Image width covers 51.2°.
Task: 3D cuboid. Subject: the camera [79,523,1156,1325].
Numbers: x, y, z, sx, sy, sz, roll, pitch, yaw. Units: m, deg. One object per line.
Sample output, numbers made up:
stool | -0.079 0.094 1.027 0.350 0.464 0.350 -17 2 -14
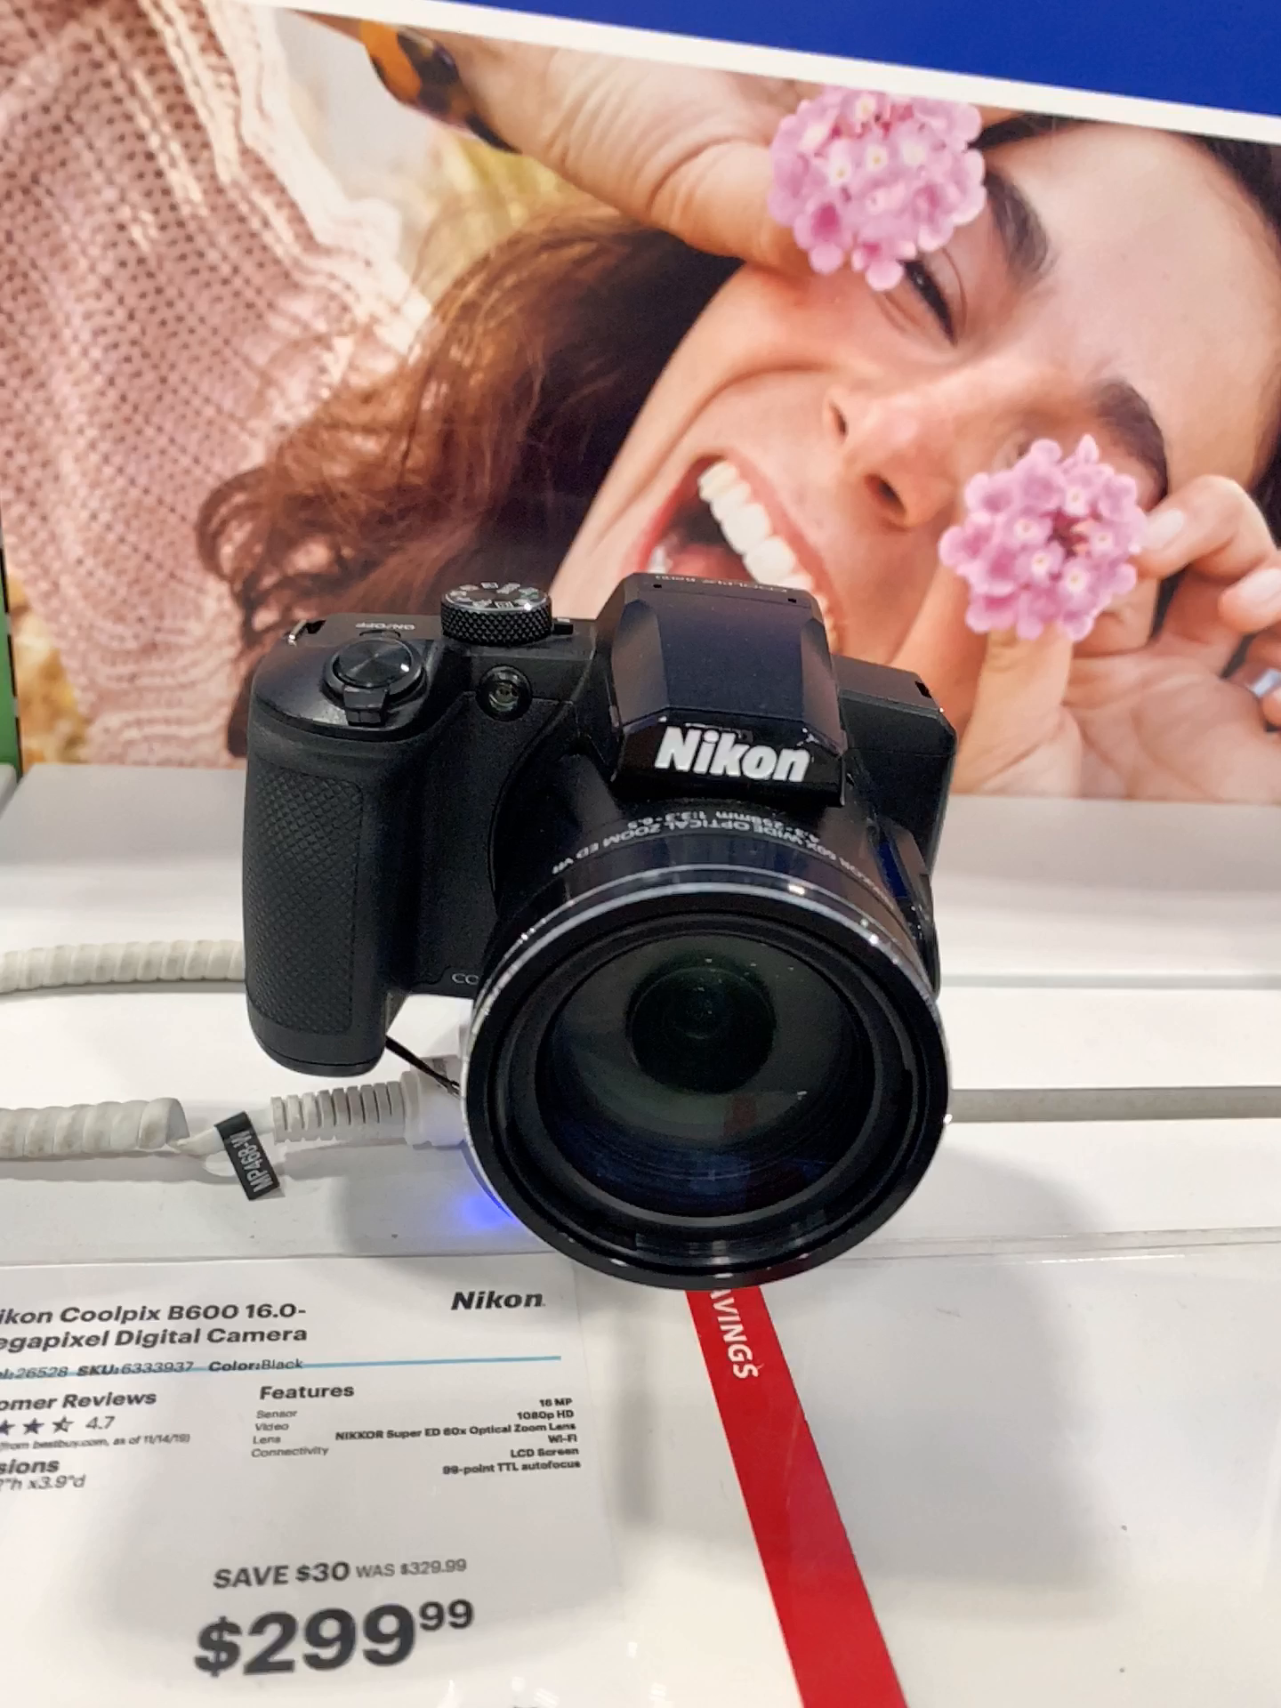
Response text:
camera | -0.007 0.004 0.209 0.120 0.080 0.100 5 23 -6
